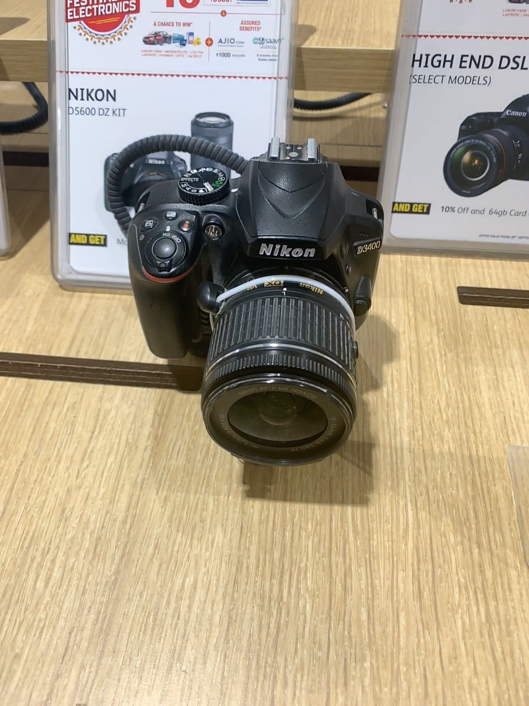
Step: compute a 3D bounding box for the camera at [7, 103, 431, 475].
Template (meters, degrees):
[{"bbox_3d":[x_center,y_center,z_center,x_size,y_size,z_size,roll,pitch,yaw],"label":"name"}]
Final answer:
[{"bbox_3d":[-0.010,-0.030,0.232,0.120,0.100,0.120,1,47,3],"label":"camera"}]
